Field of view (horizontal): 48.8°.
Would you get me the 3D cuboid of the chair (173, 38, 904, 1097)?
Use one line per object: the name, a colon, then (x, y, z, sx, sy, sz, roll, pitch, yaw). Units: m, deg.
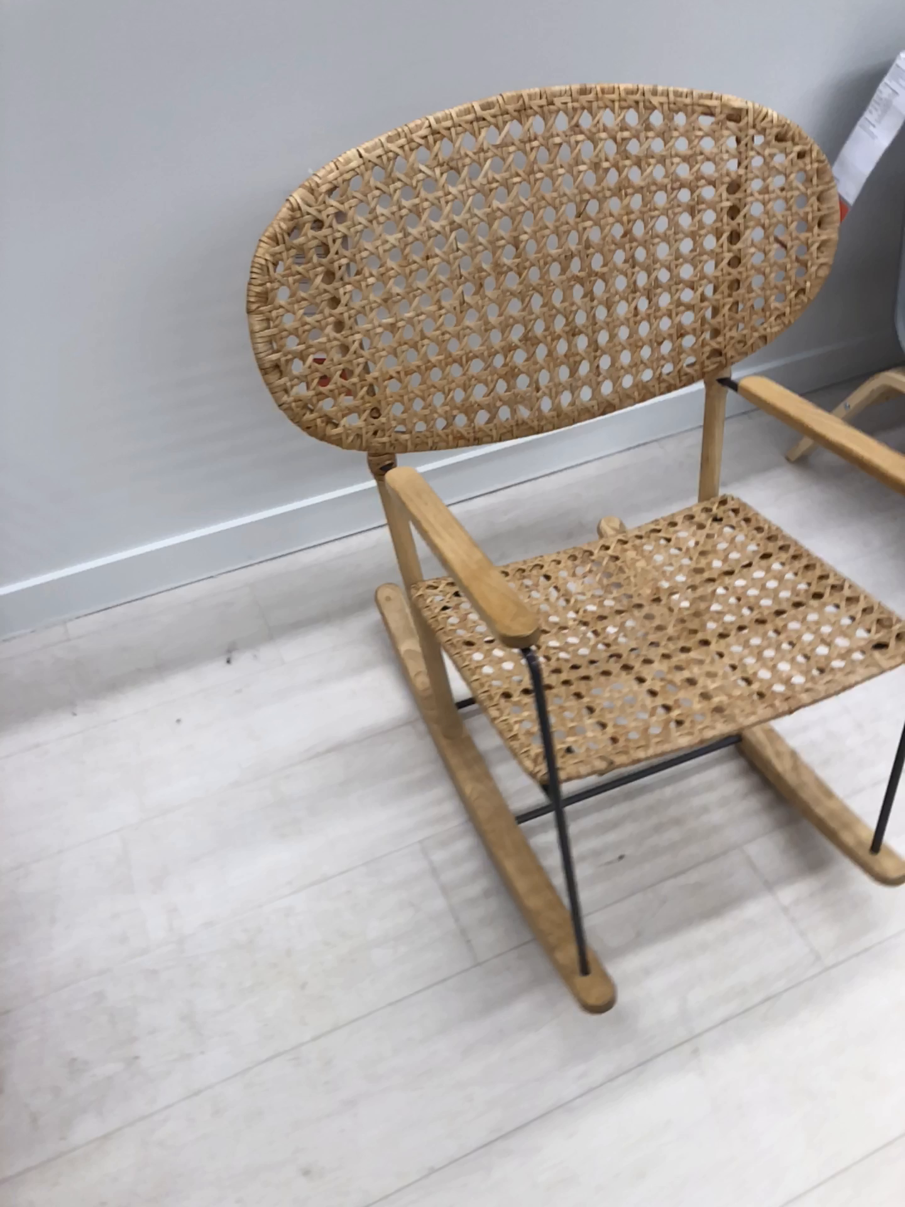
chair: (0.227, -0.083, 1.263, 0.830, 0.787, 0.852, -17, 51, -15)
